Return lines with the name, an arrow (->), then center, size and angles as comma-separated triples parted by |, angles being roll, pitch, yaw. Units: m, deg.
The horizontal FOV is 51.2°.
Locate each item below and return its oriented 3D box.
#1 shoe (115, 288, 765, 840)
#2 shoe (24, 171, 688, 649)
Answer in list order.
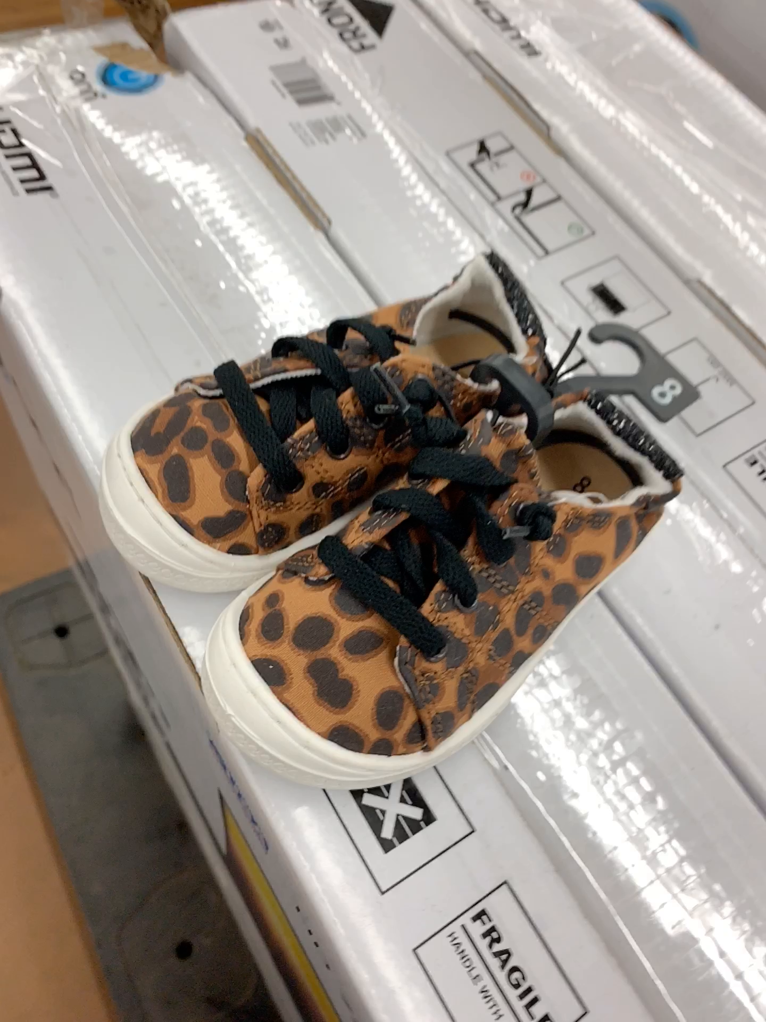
shoe -> 0.024, 0.005, 0.230 | 0.170, 0.040, 0.080 | -29, 69, -24
shoe -> -0.003, -0.039, 0.240 | 0.170, 0.040, 0.080 | -26, 68, -23
